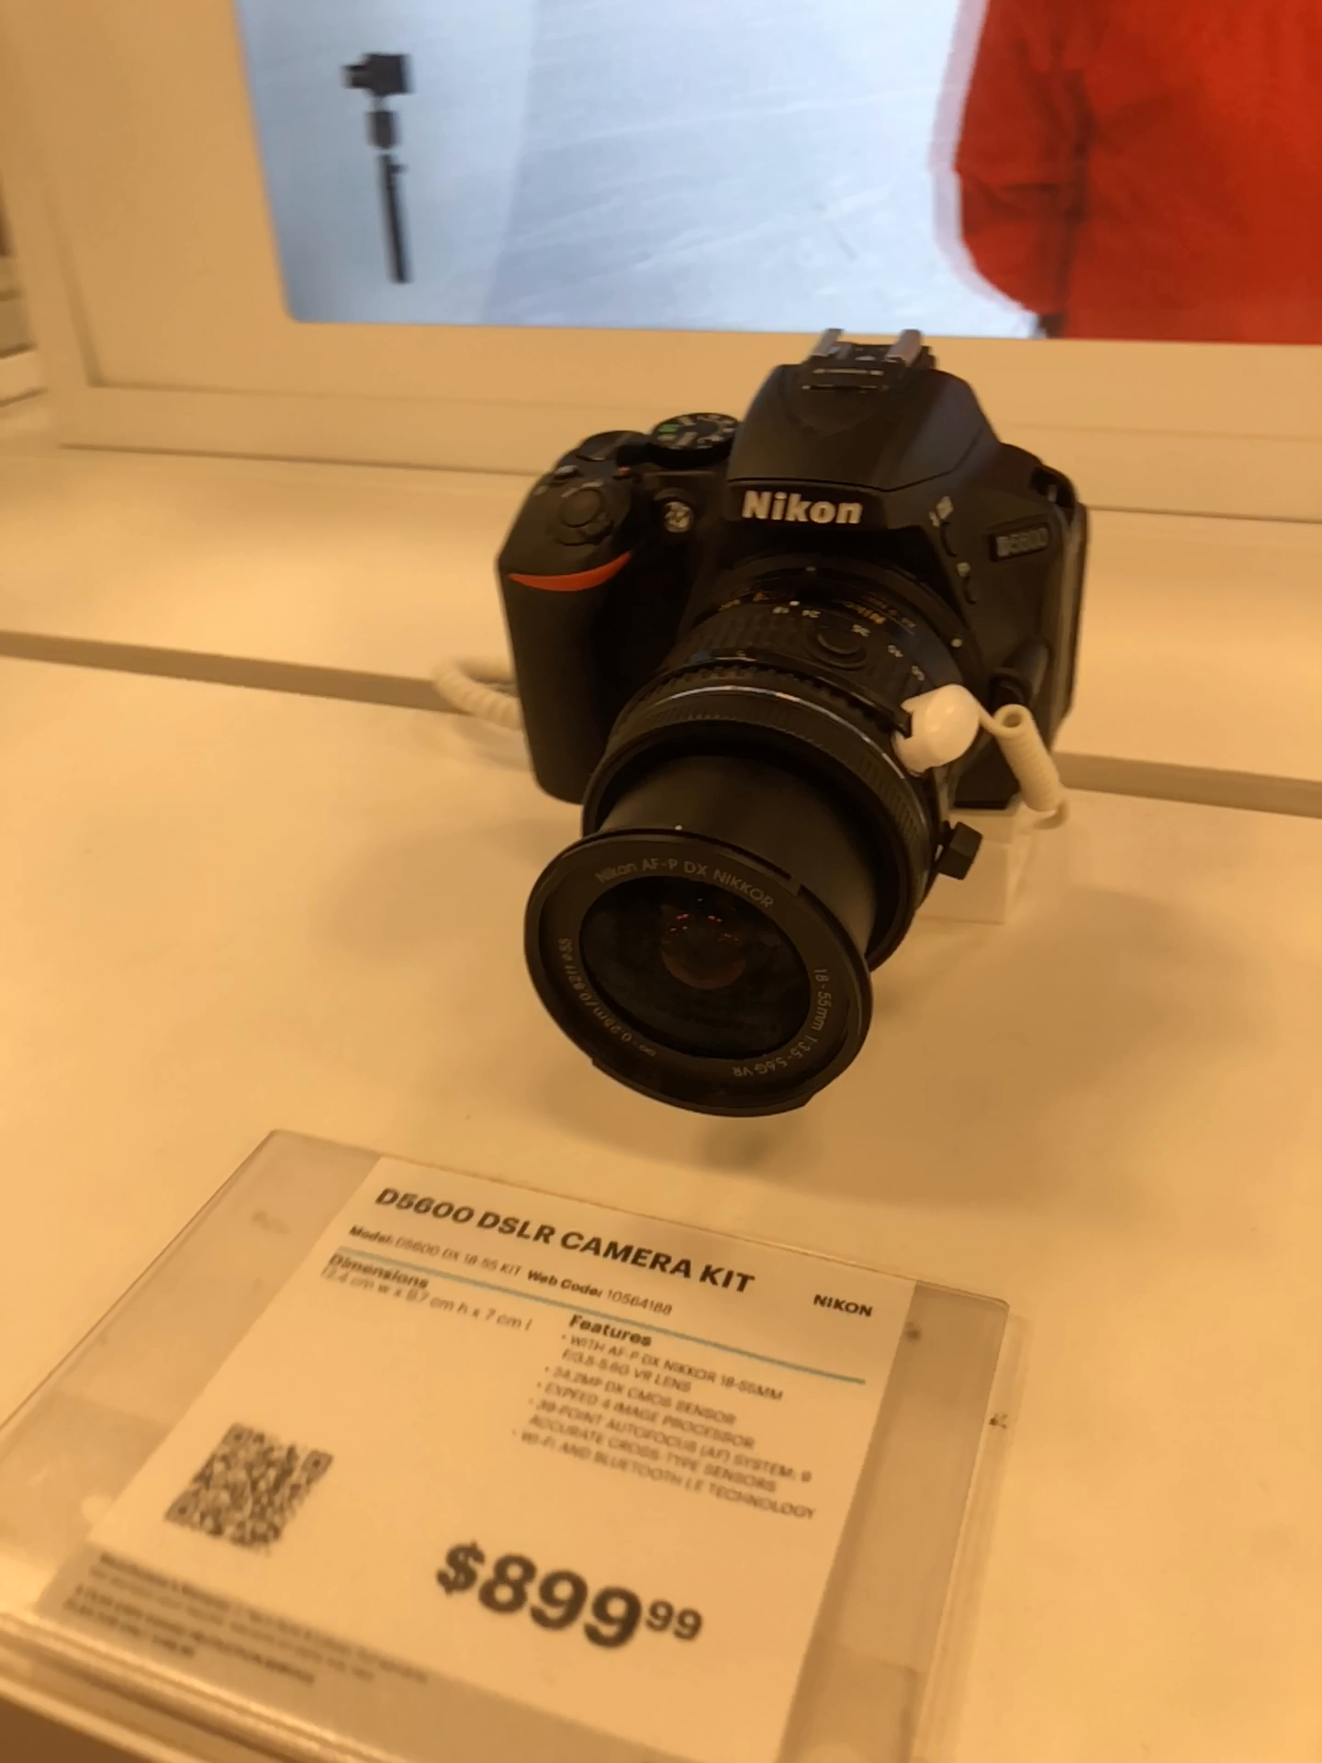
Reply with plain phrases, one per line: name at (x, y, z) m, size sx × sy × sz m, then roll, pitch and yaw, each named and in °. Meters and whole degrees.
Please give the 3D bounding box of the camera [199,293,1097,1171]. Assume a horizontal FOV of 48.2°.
camera at (0.017, -0.050, 0.313) m, size 0.120 × 0.090 × 0.191 m, roll 7°, pitch 38°, yaw 17°
